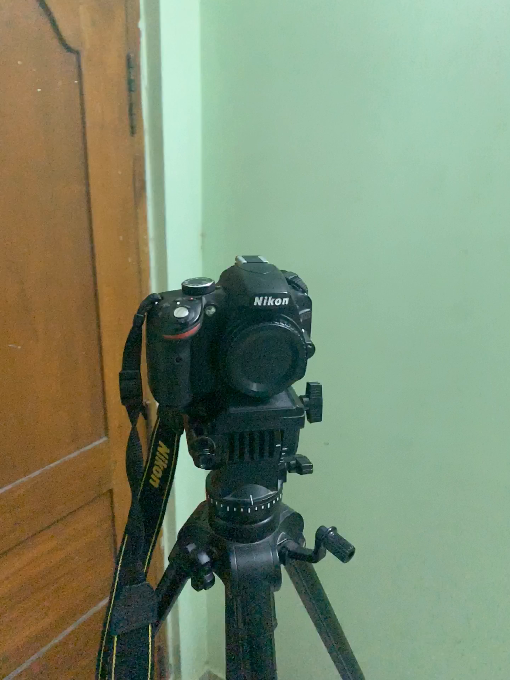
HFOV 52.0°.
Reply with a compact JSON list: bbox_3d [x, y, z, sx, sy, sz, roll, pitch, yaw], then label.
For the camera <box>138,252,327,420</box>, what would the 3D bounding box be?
[{"bbox_3d":[-0.021,-0.009,0.382,0.118,0.096,0.086,-4,17,-14],"label":"camera"}]
